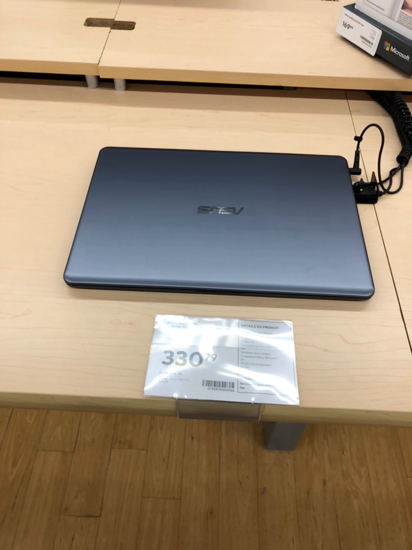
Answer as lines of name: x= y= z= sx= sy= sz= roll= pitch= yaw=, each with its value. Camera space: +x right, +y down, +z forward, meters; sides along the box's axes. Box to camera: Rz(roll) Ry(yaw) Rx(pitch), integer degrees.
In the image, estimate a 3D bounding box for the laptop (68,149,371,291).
laptop: x=0.017 y=-0.076 z=0.540 sx=0.318 sy=0.001 sz=0.211 roll=3 pitch=53 yaw=1
